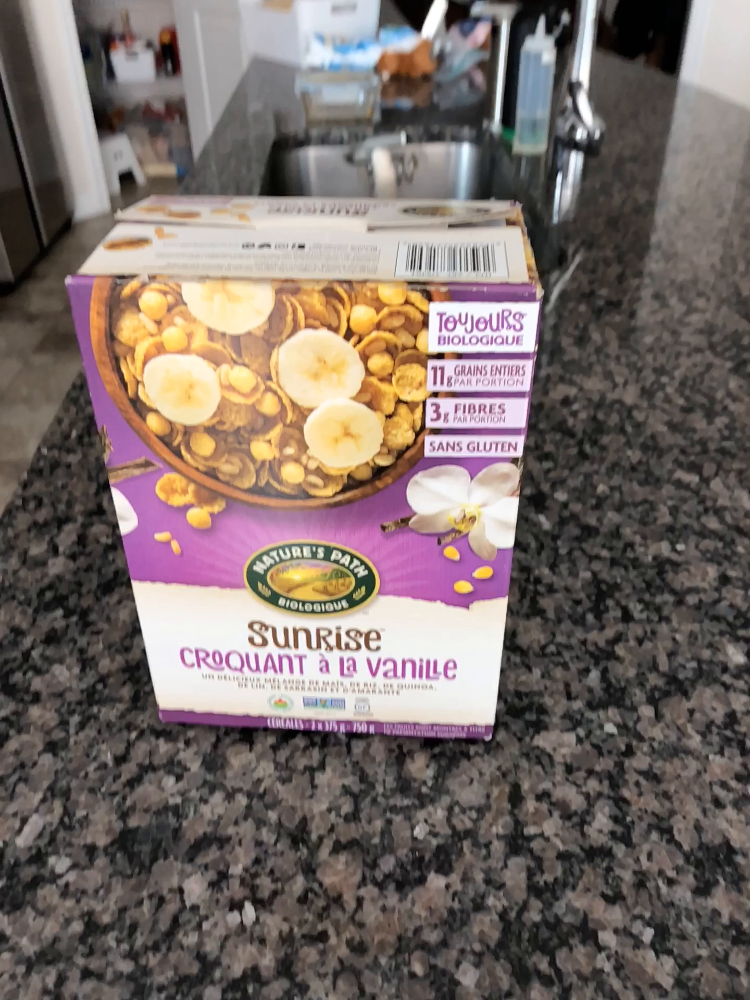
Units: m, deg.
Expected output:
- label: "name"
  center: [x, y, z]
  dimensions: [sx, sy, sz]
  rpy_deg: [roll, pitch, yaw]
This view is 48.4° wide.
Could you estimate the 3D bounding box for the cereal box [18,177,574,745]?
- label: "cereal box"
  center: [-0.022, -0.012, 0.379]
  dimensions: [0.180, 0.229, 0.110]
  rpy_deg: [2, 36, 4]
